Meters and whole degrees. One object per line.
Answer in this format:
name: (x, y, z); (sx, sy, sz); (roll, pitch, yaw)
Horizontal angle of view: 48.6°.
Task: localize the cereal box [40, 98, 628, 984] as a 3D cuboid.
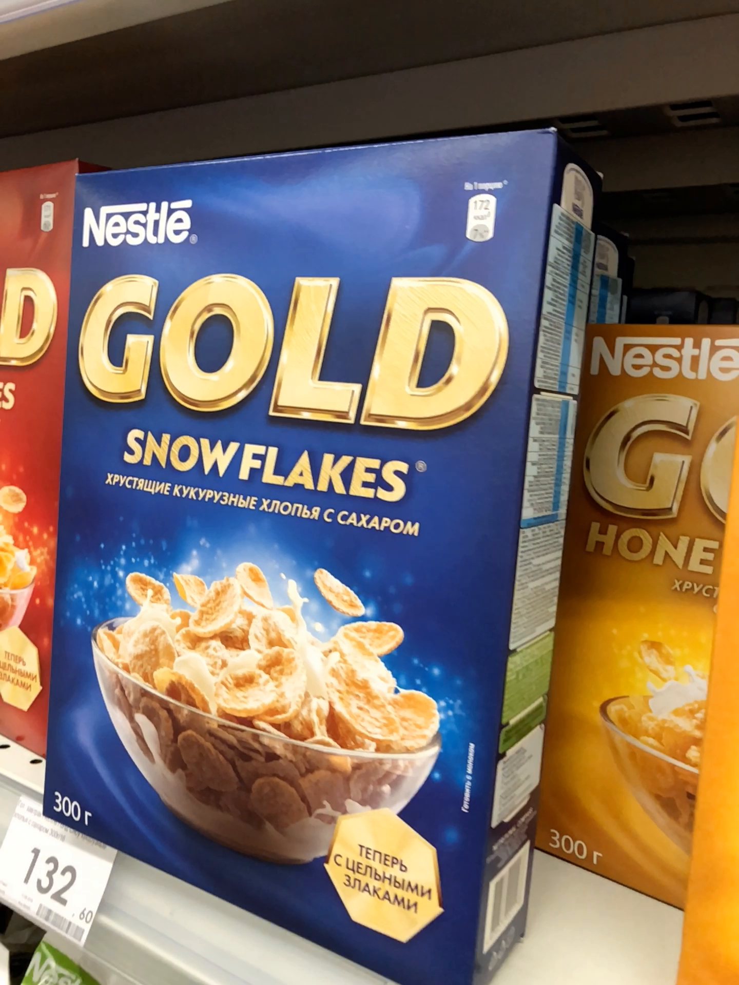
cereal box: (-0.027, 0.017, 0.299); (0.200, 0.270, 0.050); (7, 6, 30)
